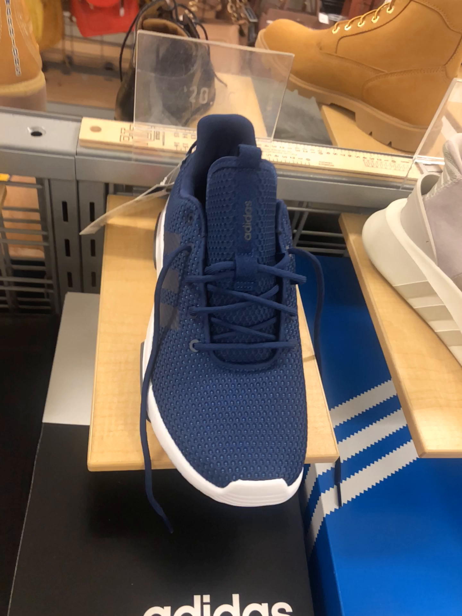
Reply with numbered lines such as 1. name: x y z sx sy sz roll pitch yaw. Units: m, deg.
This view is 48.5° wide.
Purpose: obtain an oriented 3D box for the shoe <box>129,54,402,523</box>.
1. shoe: -0.007 -0.031 0.364 0.112 0.145 0.305 3 49 -11
